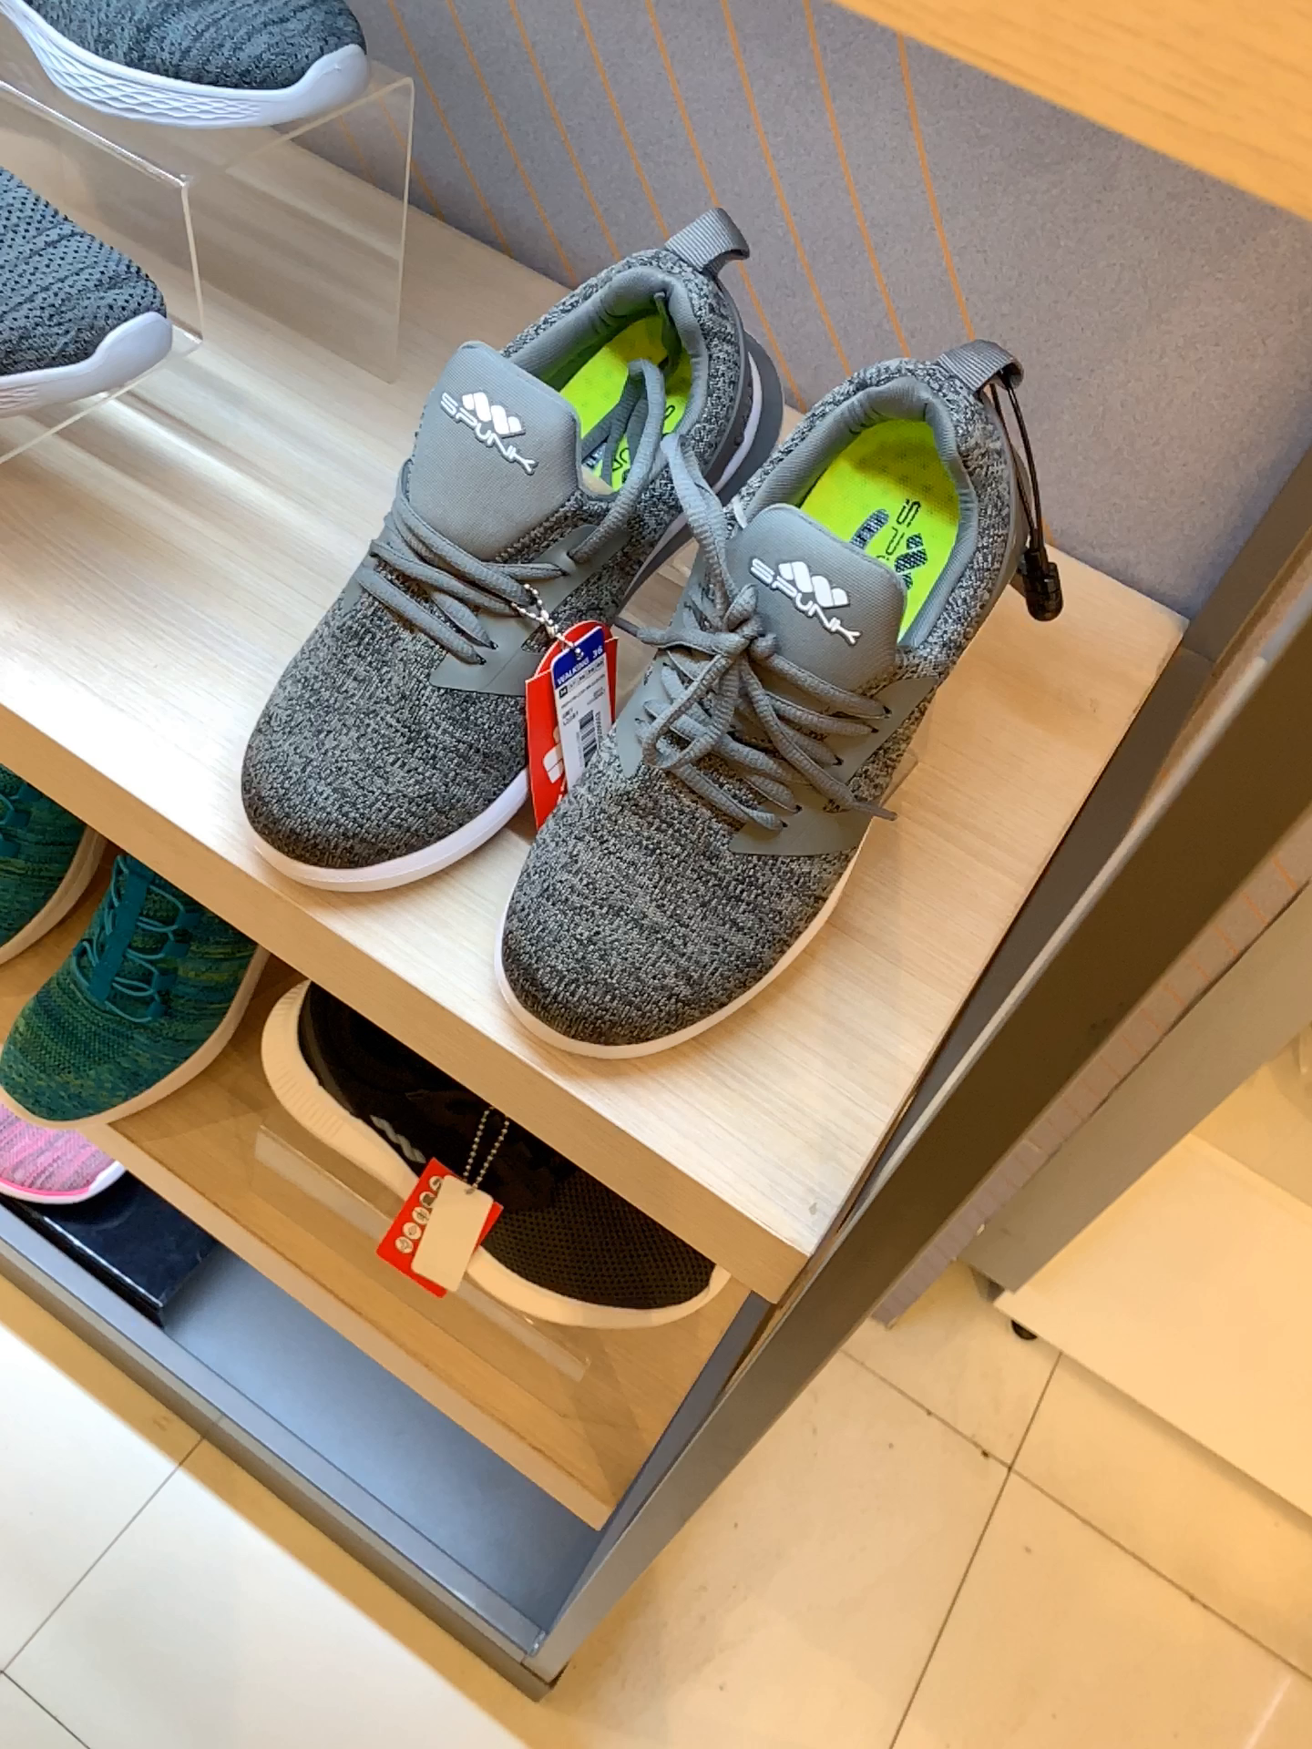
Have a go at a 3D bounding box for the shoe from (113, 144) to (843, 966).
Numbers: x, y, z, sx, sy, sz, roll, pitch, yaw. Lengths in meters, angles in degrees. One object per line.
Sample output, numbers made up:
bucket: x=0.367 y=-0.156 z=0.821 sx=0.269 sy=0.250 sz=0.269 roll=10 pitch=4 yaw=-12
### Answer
shoe: x=-0.047 y=-0.095 z=0.429 sx=0.080 sy=0.080 sz=0.240 roll=37 pitch=86 yaw=15

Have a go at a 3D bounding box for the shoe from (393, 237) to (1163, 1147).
shoe: x=0.037 y=-0.049 z=0.404 sx=0.090 sy=0.080 sz=0.240 roll=34 pitch=89 yaw=11
